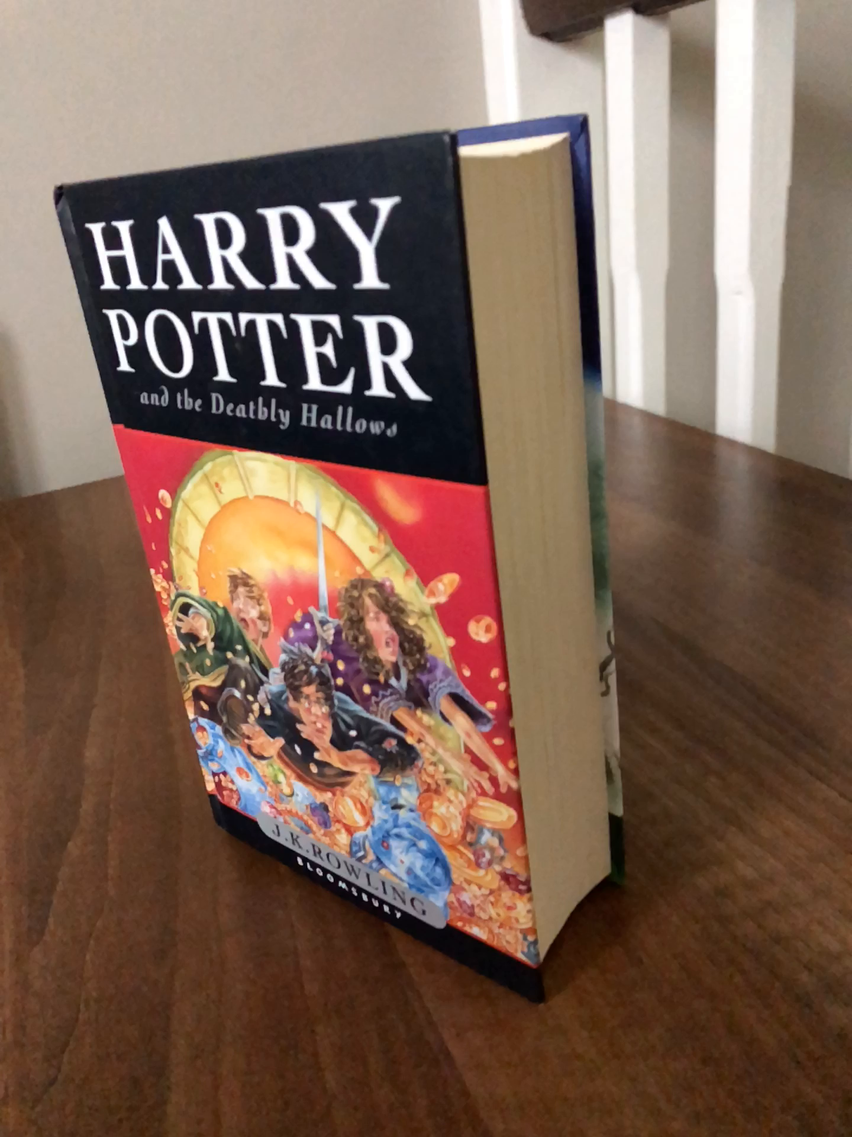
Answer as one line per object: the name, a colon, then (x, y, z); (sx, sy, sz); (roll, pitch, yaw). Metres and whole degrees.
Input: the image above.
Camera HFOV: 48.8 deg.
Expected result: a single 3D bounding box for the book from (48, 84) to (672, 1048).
book: (-0.013, -0.004, 0.254); (0.140, 0.209, 0.060); (13, 30, 40)
